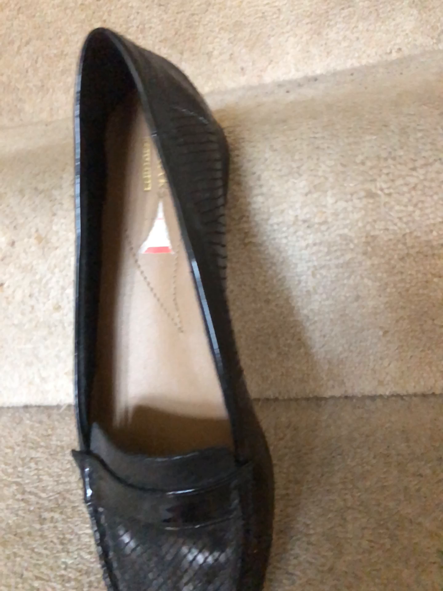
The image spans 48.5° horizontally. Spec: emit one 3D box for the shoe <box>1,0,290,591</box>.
[{"bbox_3d":[-0.026,0.024,0.220,0.090,0.260,0.070,-4,1,9],"label":"shoe"}]
